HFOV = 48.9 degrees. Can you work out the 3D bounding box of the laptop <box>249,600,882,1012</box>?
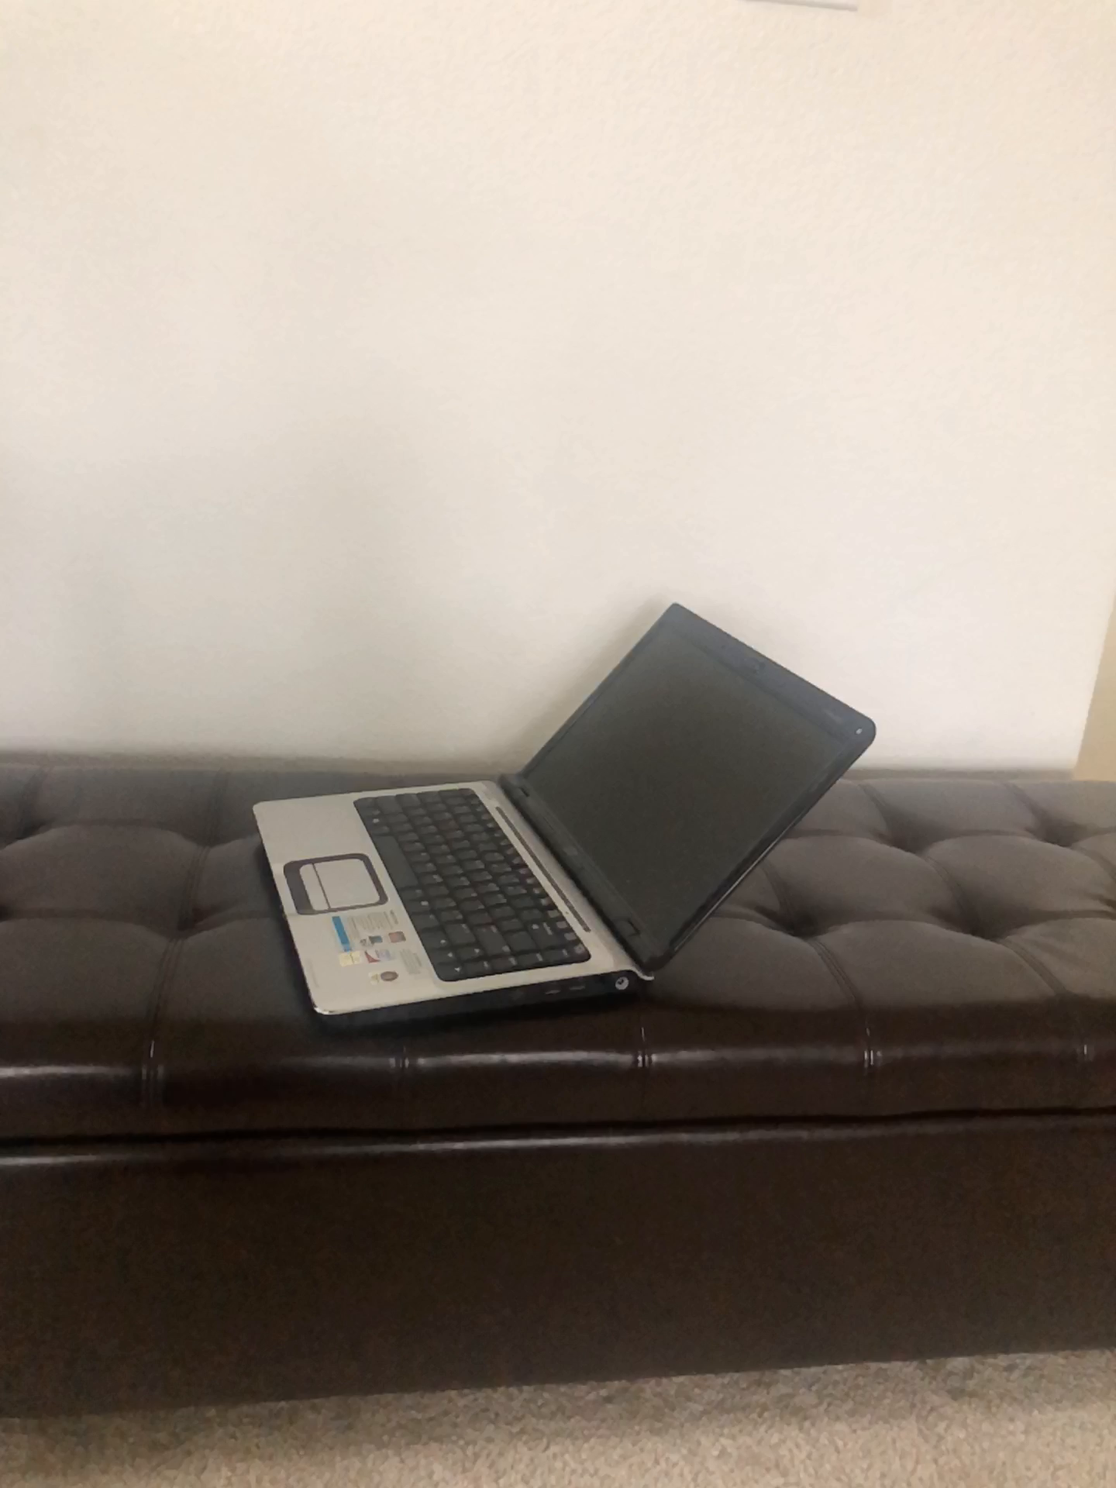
[{"bbox_3d":[-0.019,0.017,0.936,0.381,0.161,0.327,-5,22,-21],"label":"laptop"}]
